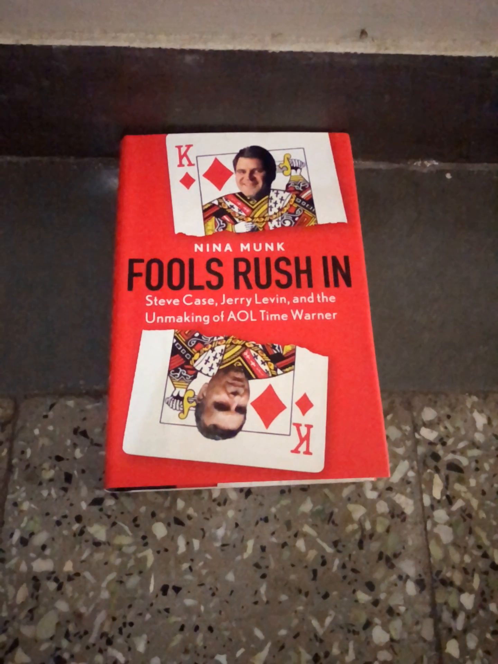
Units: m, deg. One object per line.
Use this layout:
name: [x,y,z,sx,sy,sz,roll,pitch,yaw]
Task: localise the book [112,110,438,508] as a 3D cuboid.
book: [0.009,-0.030,0.367,0.180,0.030,0.270,-2,69,-4]
